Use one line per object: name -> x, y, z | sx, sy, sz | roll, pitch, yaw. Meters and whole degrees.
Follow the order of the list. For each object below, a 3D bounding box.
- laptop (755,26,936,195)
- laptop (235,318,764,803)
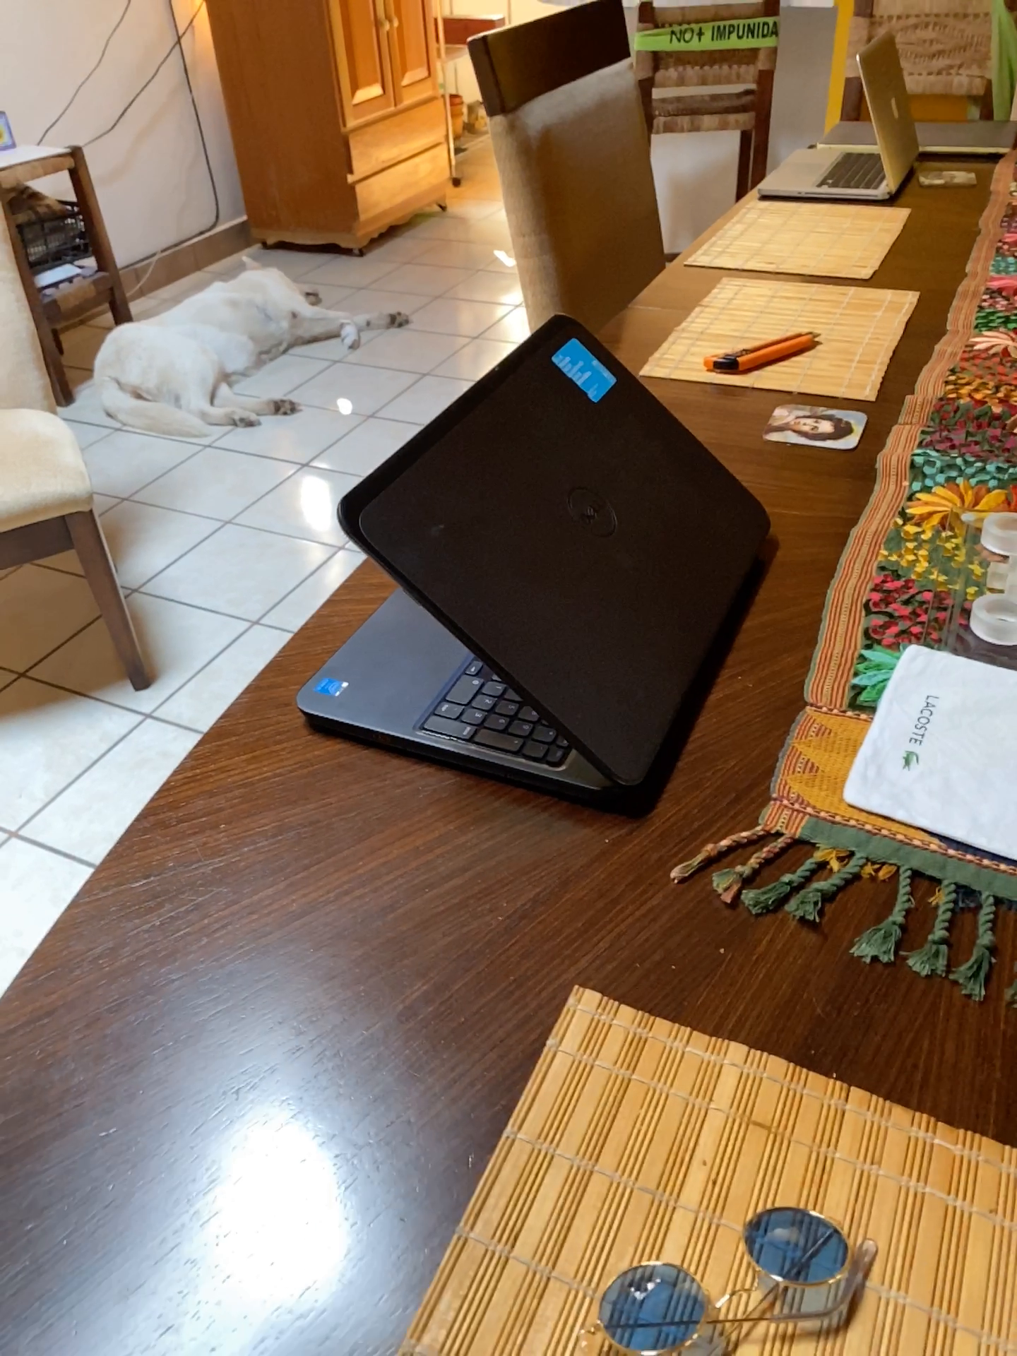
laptop -> 0.607, -1.020, 1.861 | 0.221, 0.207, 0.373 | 12, 40, 20
laptop -> 0.019, -0.117, 0.770 | 0.248, 0.158, 0.358 | 13, 41, 21
